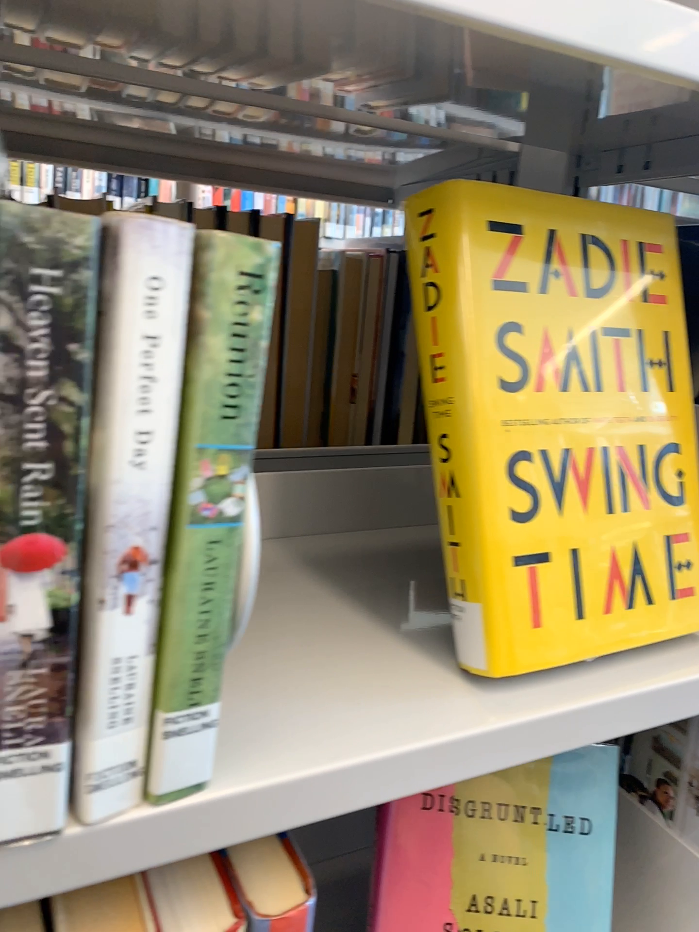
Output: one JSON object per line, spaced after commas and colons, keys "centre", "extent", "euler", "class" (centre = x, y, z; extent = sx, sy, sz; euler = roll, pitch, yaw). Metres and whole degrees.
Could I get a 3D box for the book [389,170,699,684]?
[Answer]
{"centre": [0.117, -0.022, 0.390], "extent": [0.168, 0.233, 0.060], "euler": [-3, -3, -29], "class": "book"}
